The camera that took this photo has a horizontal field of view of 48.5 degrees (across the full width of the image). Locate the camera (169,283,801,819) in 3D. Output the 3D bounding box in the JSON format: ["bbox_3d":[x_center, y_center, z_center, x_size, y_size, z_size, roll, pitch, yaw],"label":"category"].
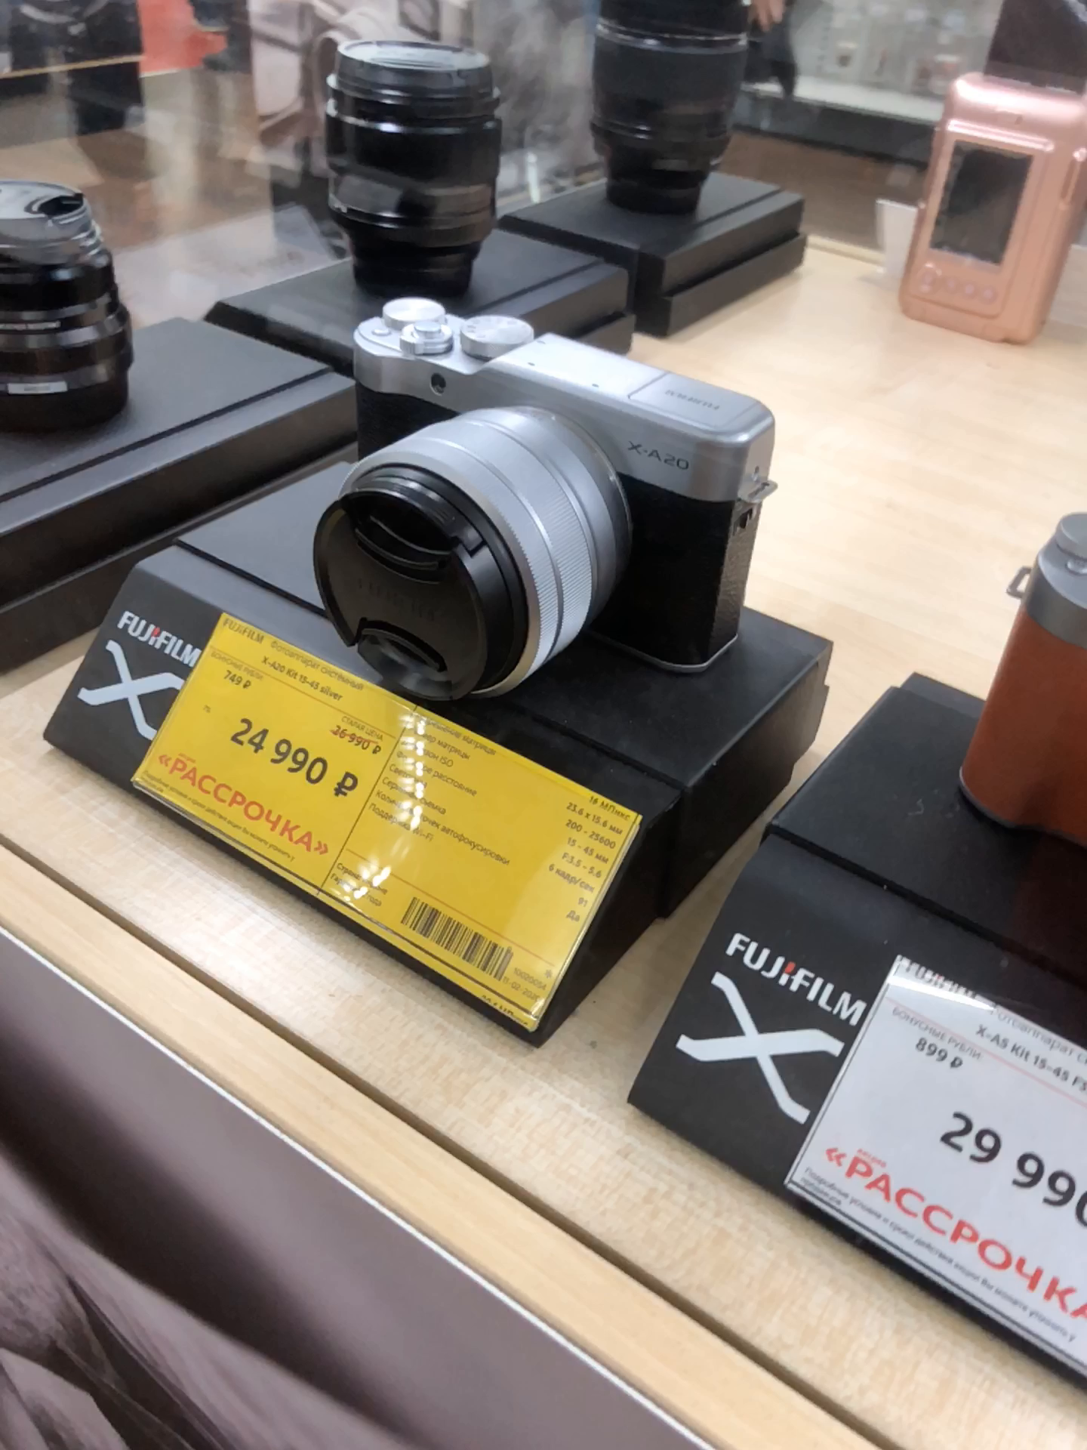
[{"bbox_3d":[-0.015,-0.052,0.305,0.120,0.072,0.088,26,41,26],"label":"camera"}]

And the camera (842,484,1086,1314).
[{"bbox_3d":[0.142,0.021,0.232,0.128,0.072,0.088,26,41,26],"label":"camera"}]
